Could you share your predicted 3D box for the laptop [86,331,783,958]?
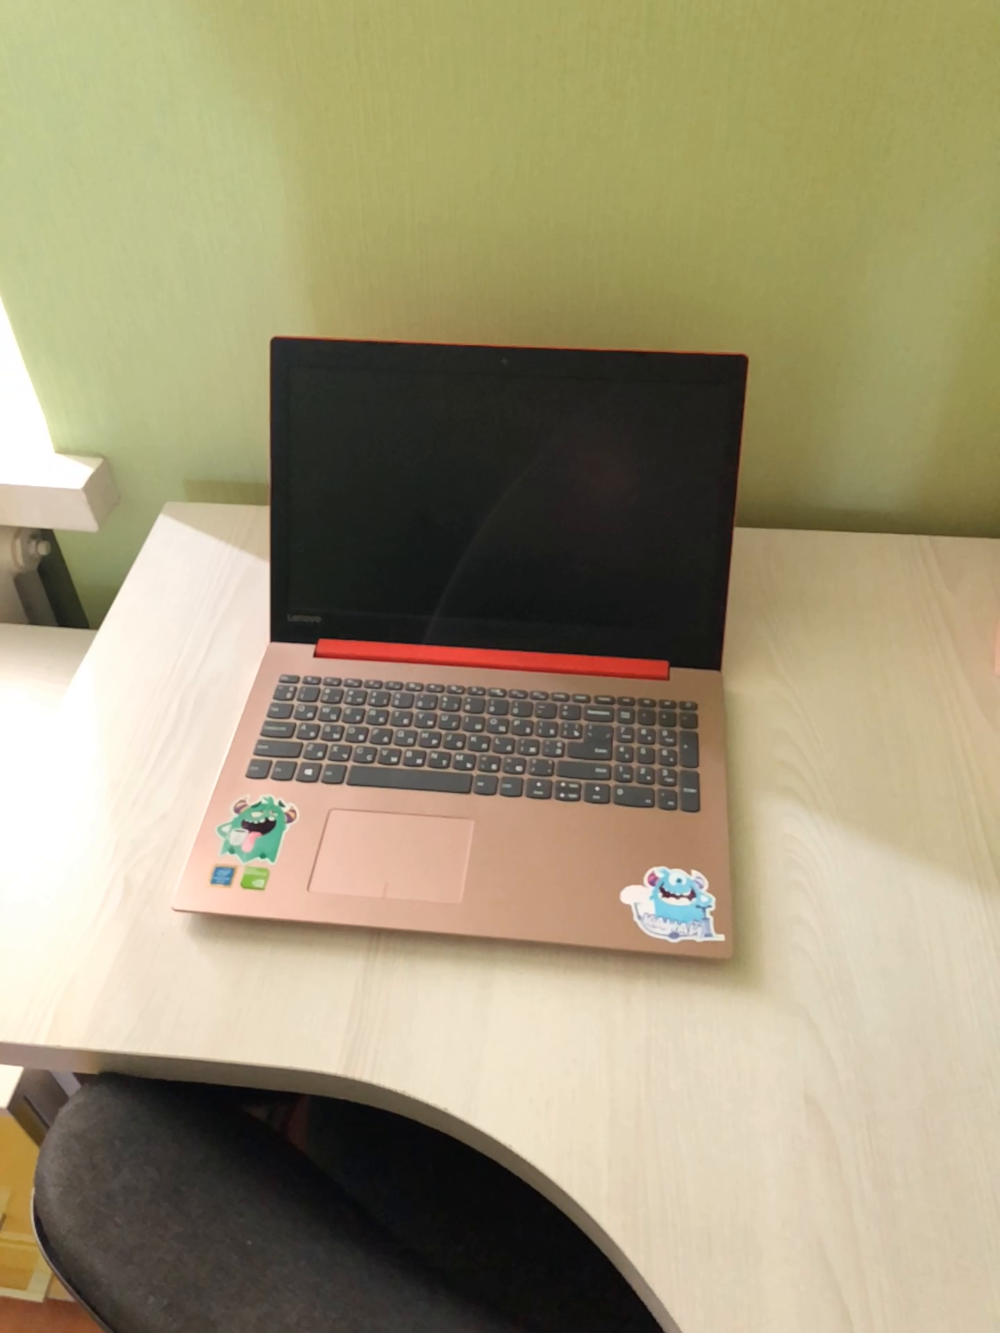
[{"bbox_3d":[-0.018,-0.041,0.796,0.375,0.198,0.403,4,46,5],"label":"laptop"}]
